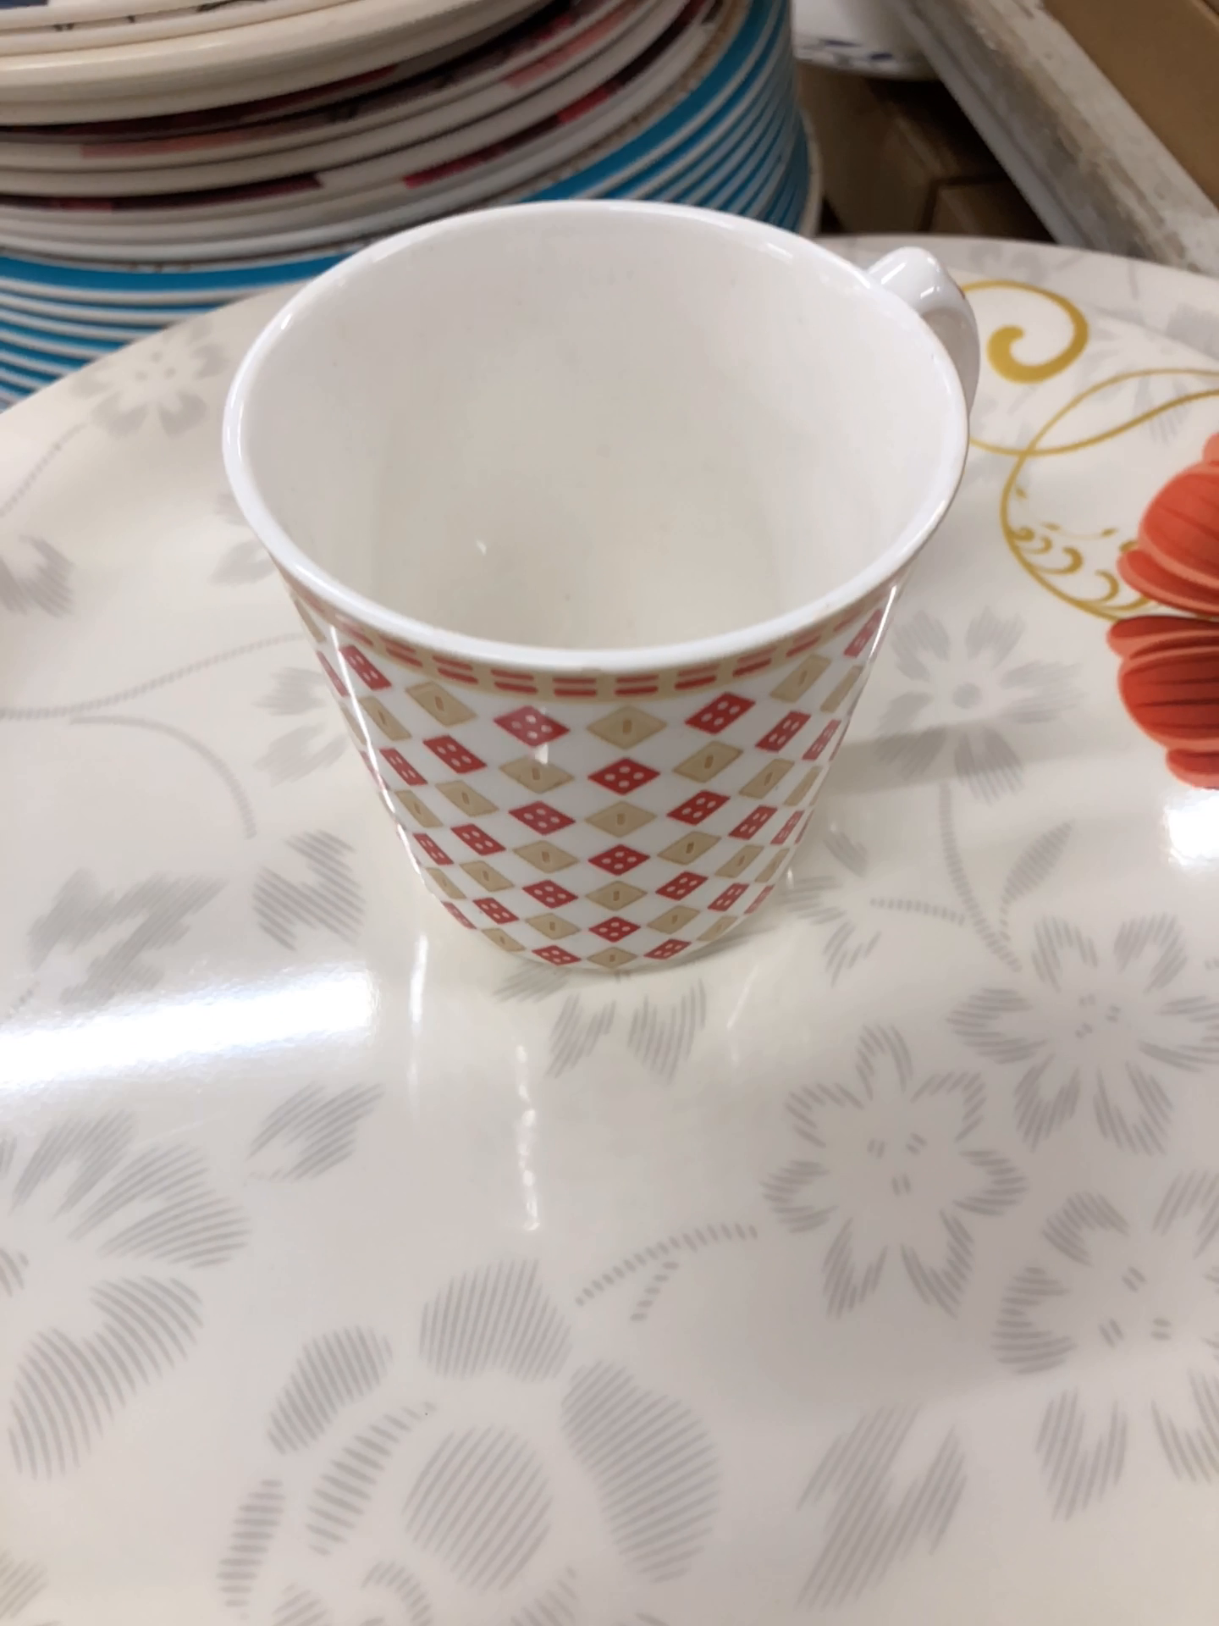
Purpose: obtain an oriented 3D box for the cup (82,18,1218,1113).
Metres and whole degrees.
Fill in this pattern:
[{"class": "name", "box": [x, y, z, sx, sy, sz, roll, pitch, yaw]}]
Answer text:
[{"class": "cup", "box": [0.011, -0.036, 0.188, 0.120, 0.080, 0.080, -26, 58, -18]}]
